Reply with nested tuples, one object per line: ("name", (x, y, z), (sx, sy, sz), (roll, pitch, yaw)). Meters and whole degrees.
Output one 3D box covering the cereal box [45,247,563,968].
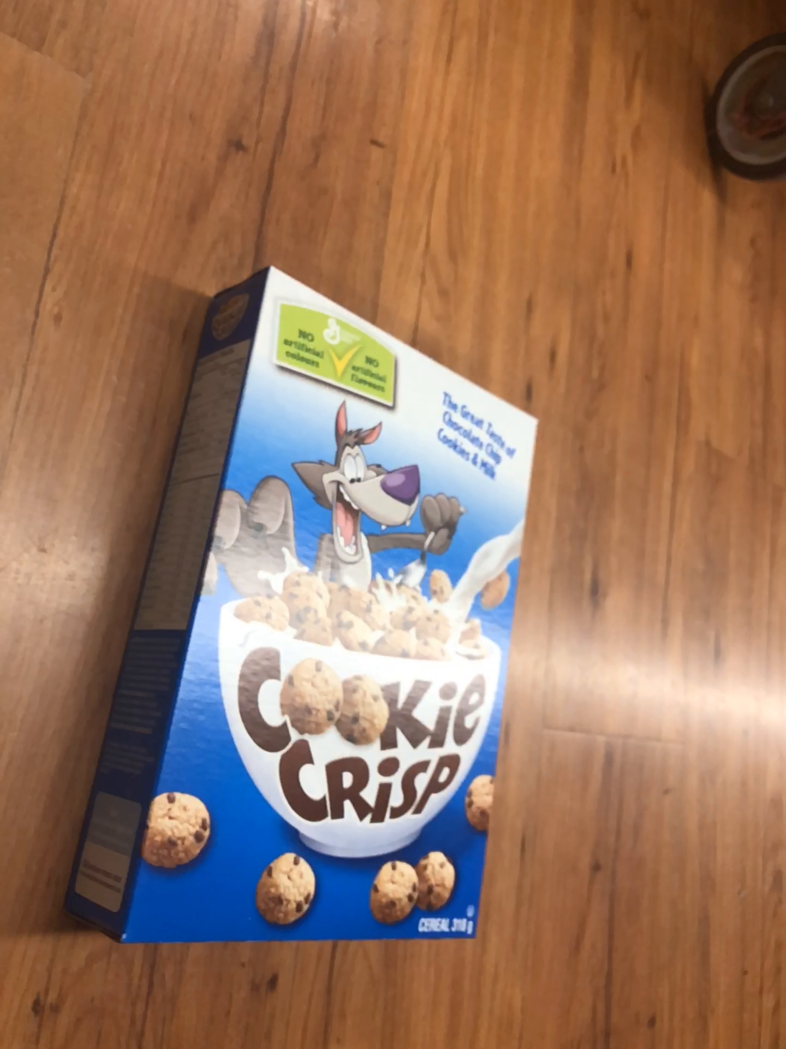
("cereal box", (-0.020, 0.048, 0.419), (0.200, 0.060, 0.280), (22, 72, -40))
